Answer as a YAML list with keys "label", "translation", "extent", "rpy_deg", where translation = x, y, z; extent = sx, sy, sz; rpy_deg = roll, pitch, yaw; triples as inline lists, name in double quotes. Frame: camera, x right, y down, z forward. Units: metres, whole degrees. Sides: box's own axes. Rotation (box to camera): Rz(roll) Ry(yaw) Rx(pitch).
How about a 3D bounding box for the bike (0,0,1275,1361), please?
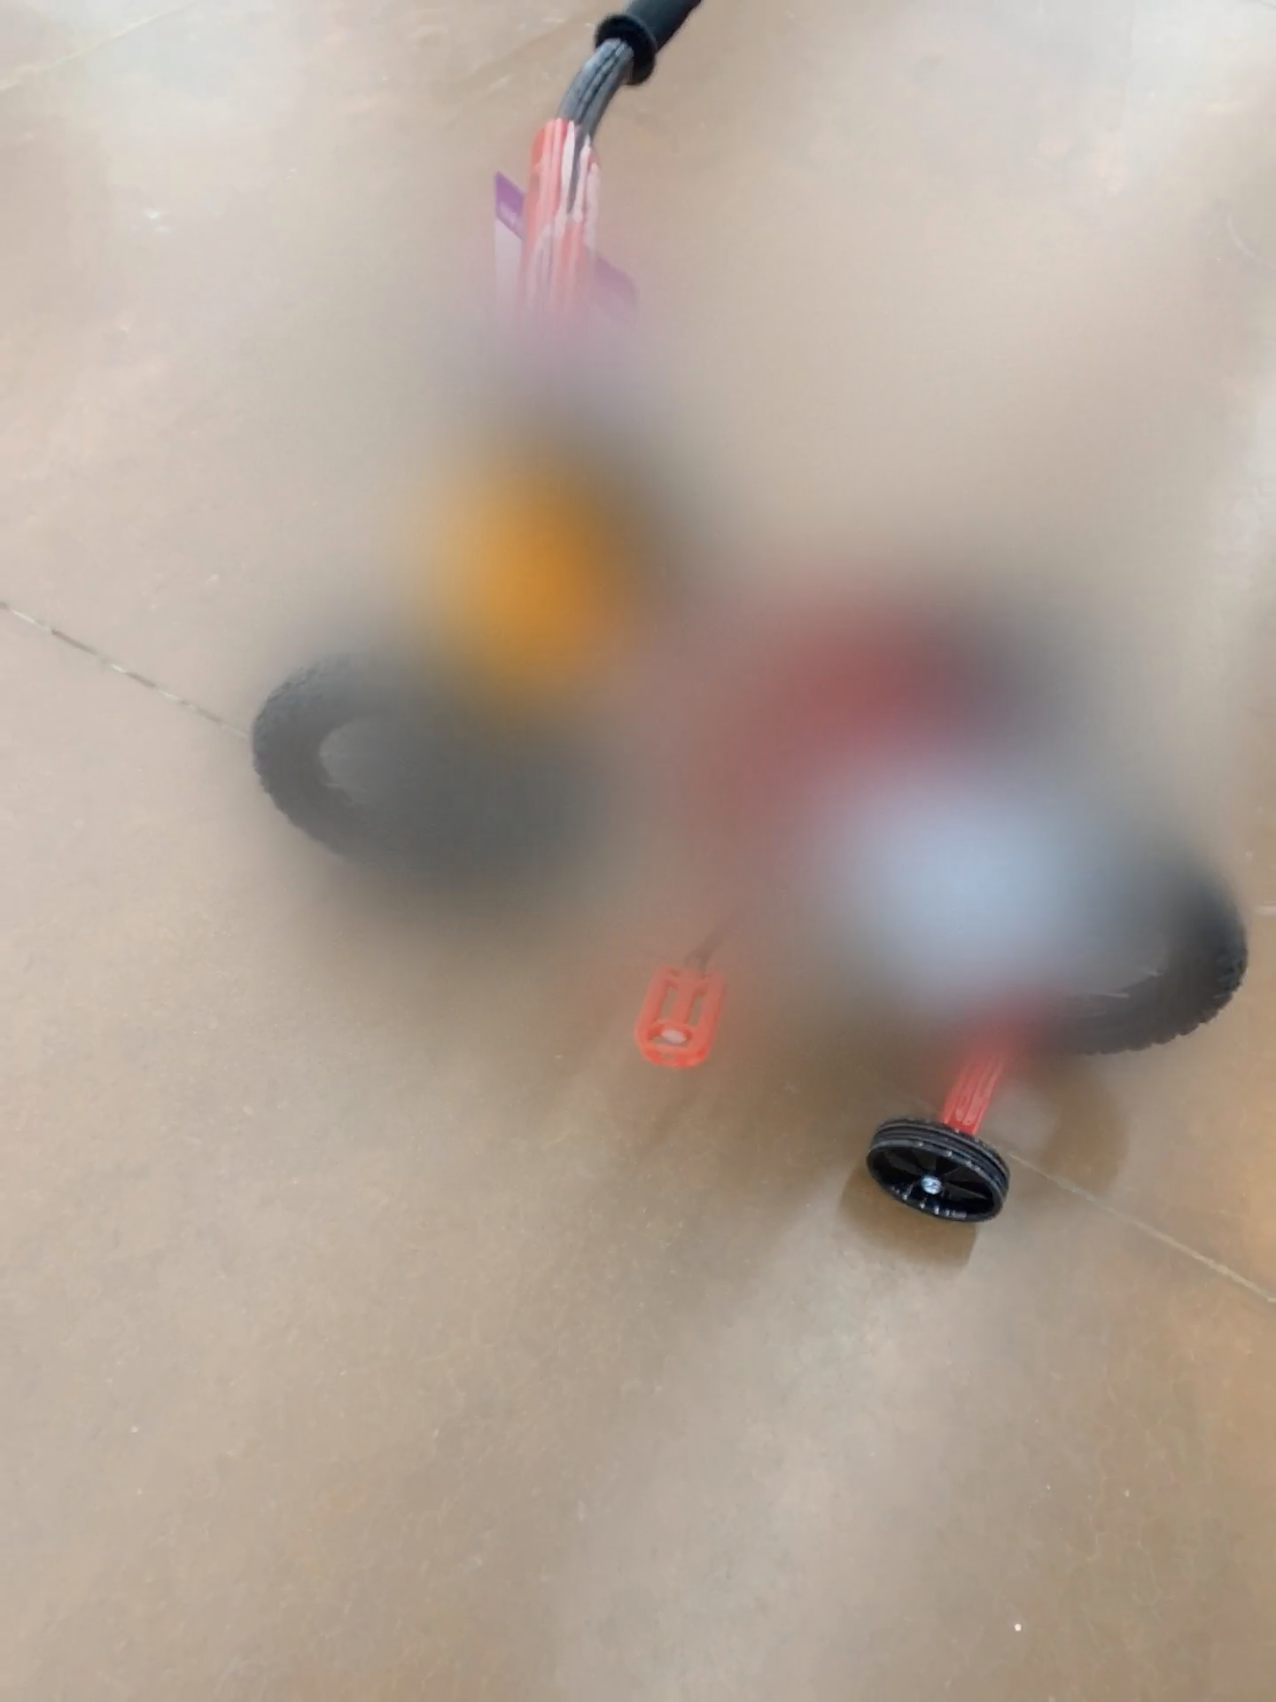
- label: "bike"
  translation: [0.067, -0.114, 0.759]
  extent: [0.735, 0.604, 0.441]
  rpy_deg: [16, 54, 5]
